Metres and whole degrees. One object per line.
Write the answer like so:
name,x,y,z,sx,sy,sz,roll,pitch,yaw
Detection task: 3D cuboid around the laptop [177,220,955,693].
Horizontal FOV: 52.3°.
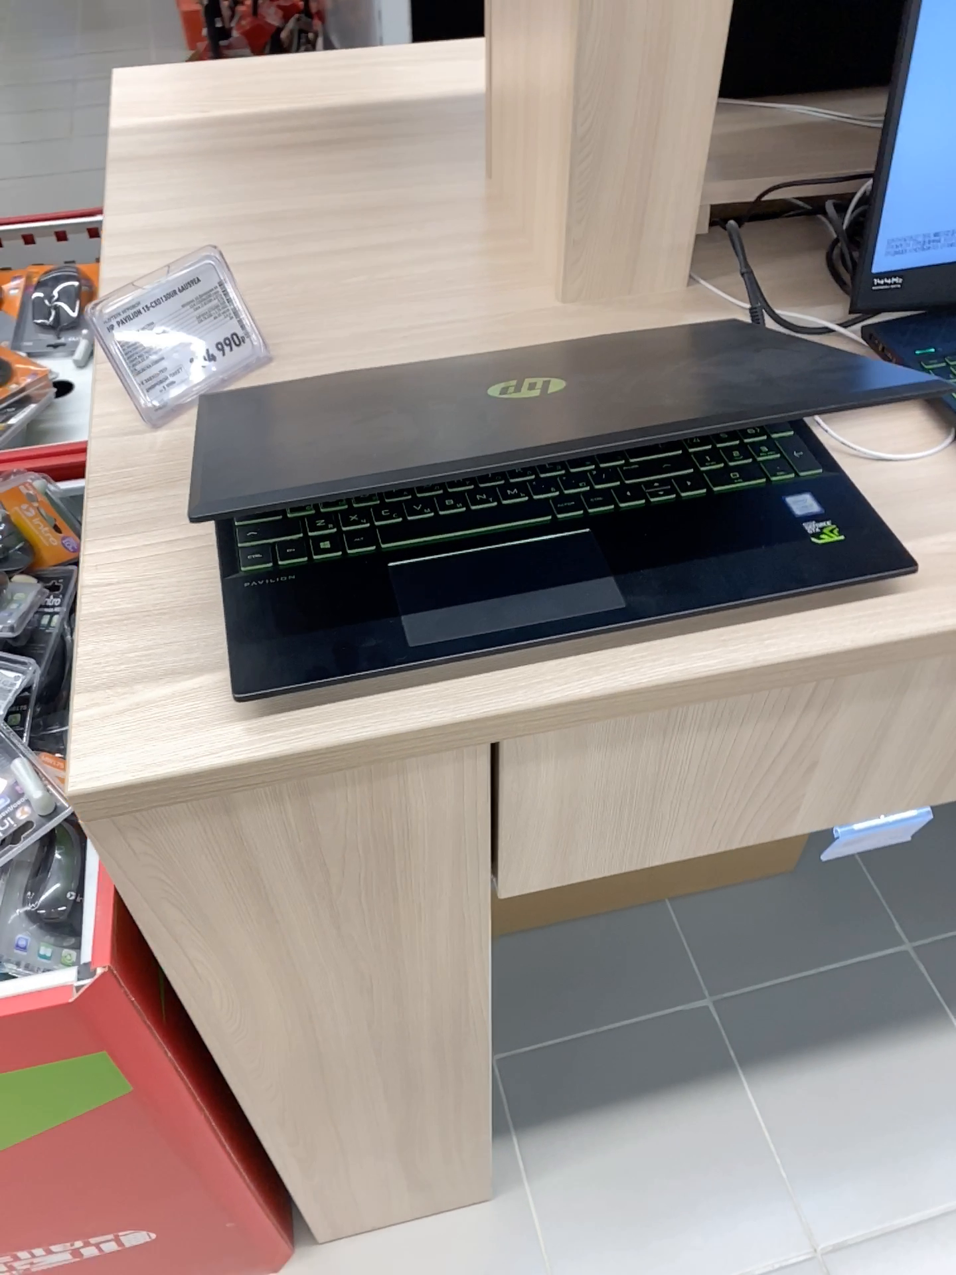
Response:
laptop,0.032,-0.121,0.548,0.365,0.086,0.242,-10,48,-9
